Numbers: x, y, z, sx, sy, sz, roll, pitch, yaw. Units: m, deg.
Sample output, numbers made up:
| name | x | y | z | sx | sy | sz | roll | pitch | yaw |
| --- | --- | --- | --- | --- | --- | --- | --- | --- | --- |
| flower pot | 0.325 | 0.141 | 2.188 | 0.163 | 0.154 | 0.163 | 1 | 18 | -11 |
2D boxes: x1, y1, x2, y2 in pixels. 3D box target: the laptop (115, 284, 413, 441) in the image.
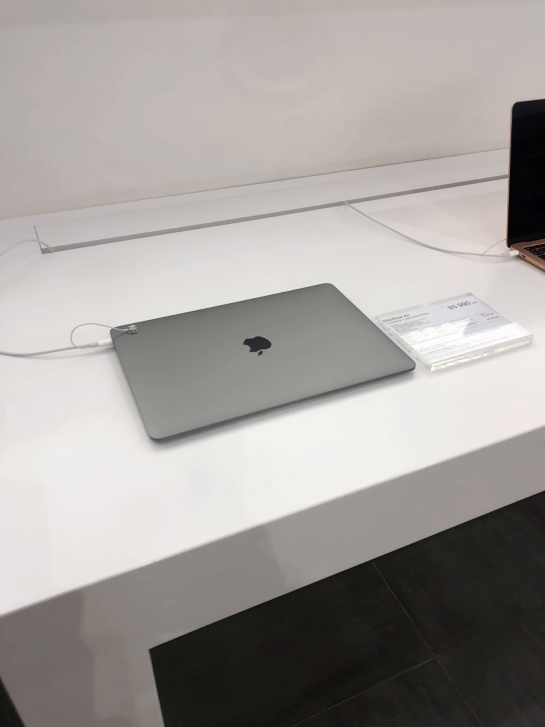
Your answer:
| name | x | y | z | sx | sy | sz | roll | pitch | yaw |
| --- | --- | --- | --- | --- | --- | --- | --- | --- | --- |
| laptop | -0.017 | -0.017 | 0.699 | 0.292 | 0.006 | 0.205 | -14 | 39 | -19 |
